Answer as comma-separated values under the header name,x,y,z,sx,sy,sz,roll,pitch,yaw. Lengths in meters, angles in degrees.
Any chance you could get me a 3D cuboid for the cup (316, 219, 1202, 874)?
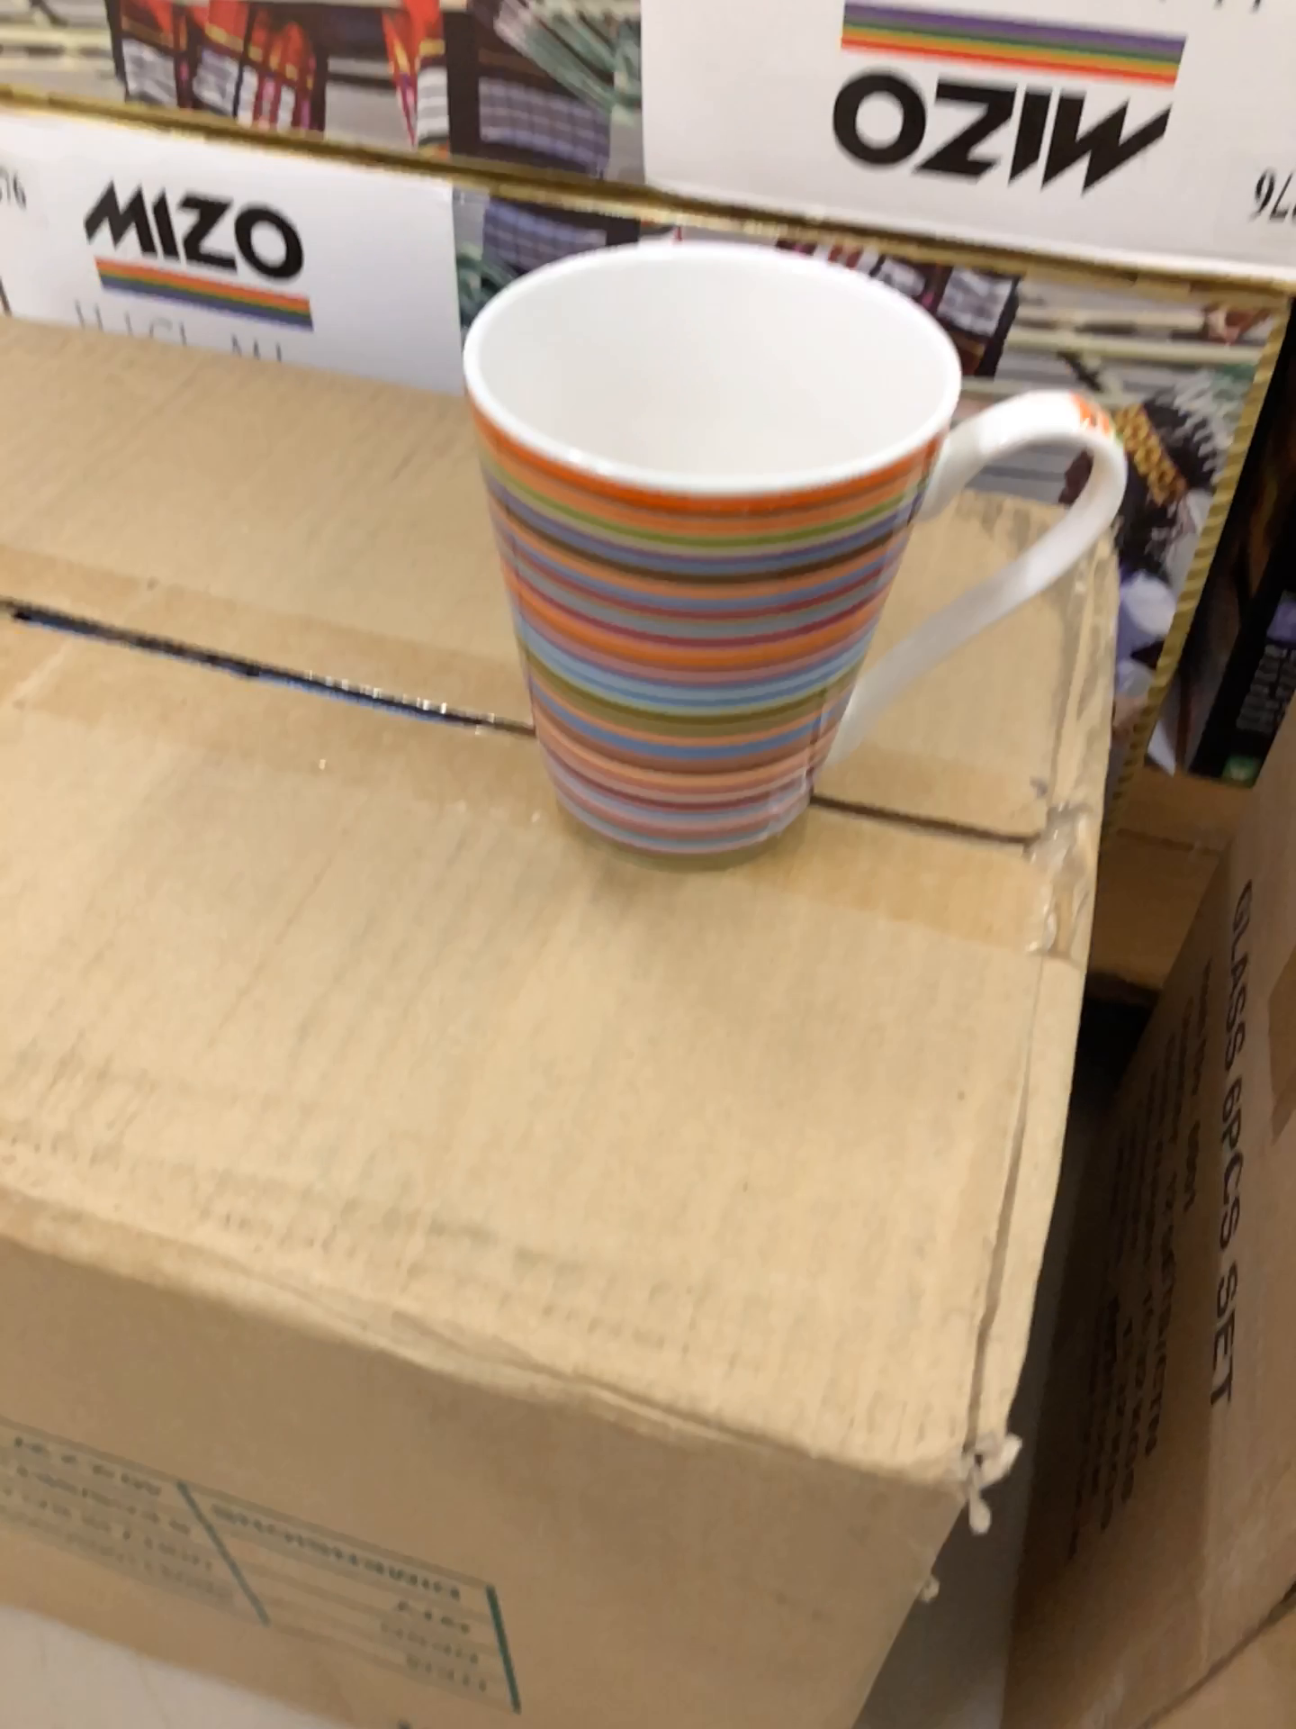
name,x,y,z,sx,sy,sz,roll,pitch,yaw
cup,0.015,-0.059,0.270,0.130,0.089,0.081,0,47,-2
